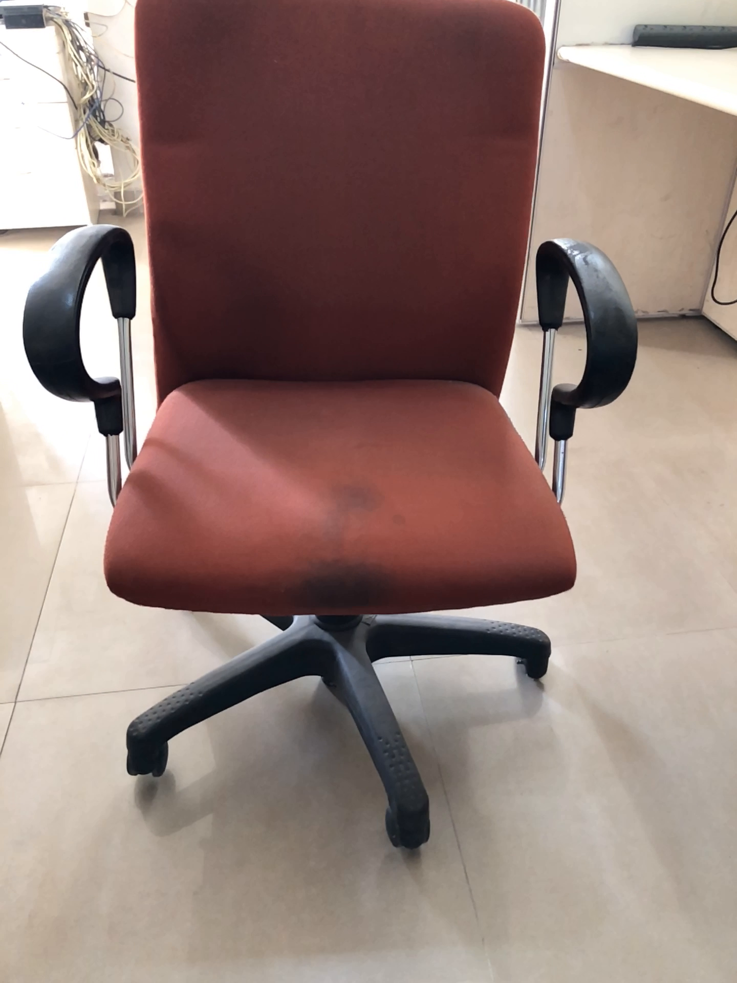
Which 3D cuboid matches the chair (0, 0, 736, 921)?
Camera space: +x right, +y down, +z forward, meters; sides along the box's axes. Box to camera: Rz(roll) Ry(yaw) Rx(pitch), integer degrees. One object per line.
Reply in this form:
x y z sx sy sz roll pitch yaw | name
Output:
-0.048 -0.072 1.073 0.770 1.043 0.705 -1 33 -1 | chair
